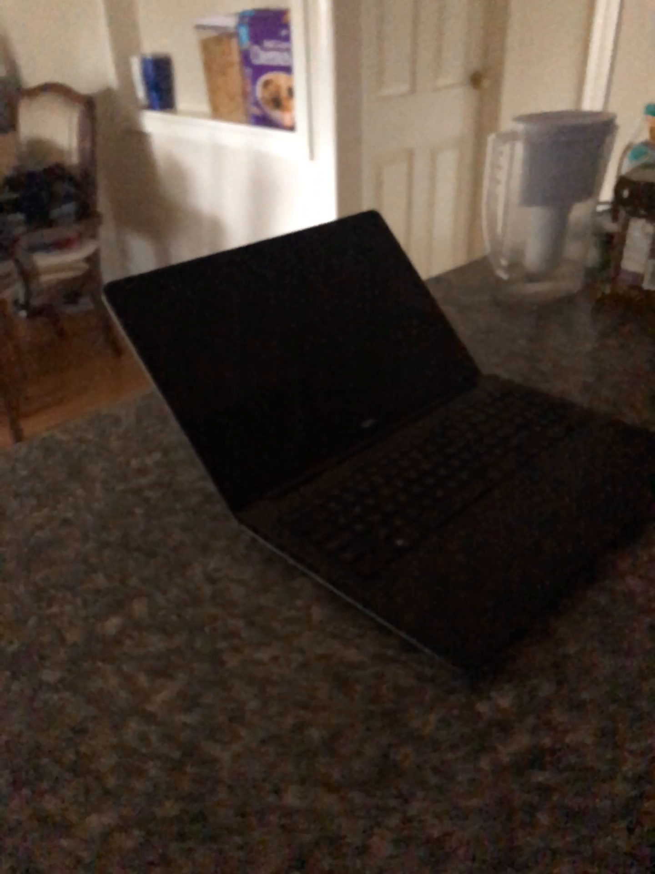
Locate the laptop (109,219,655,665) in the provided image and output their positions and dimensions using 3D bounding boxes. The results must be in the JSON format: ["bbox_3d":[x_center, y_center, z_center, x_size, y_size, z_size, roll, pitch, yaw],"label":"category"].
[{"bbox_3d":[0.075,-0.056,0.679,0.362,0.158,0.415,-28,39,-36],"label":"laptop"}]
